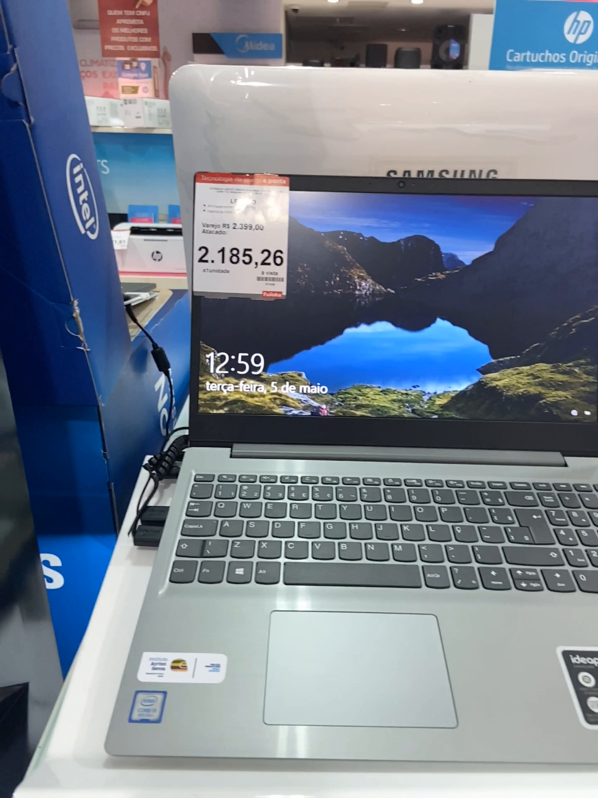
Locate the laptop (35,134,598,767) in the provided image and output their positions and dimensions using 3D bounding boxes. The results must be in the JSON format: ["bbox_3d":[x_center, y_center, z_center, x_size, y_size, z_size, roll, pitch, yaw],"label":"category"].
[{"bbox_3d":[0.081,-0.027,0.435,0.358,0.212,0.390,1,31,1],"label":"laptop"}]
